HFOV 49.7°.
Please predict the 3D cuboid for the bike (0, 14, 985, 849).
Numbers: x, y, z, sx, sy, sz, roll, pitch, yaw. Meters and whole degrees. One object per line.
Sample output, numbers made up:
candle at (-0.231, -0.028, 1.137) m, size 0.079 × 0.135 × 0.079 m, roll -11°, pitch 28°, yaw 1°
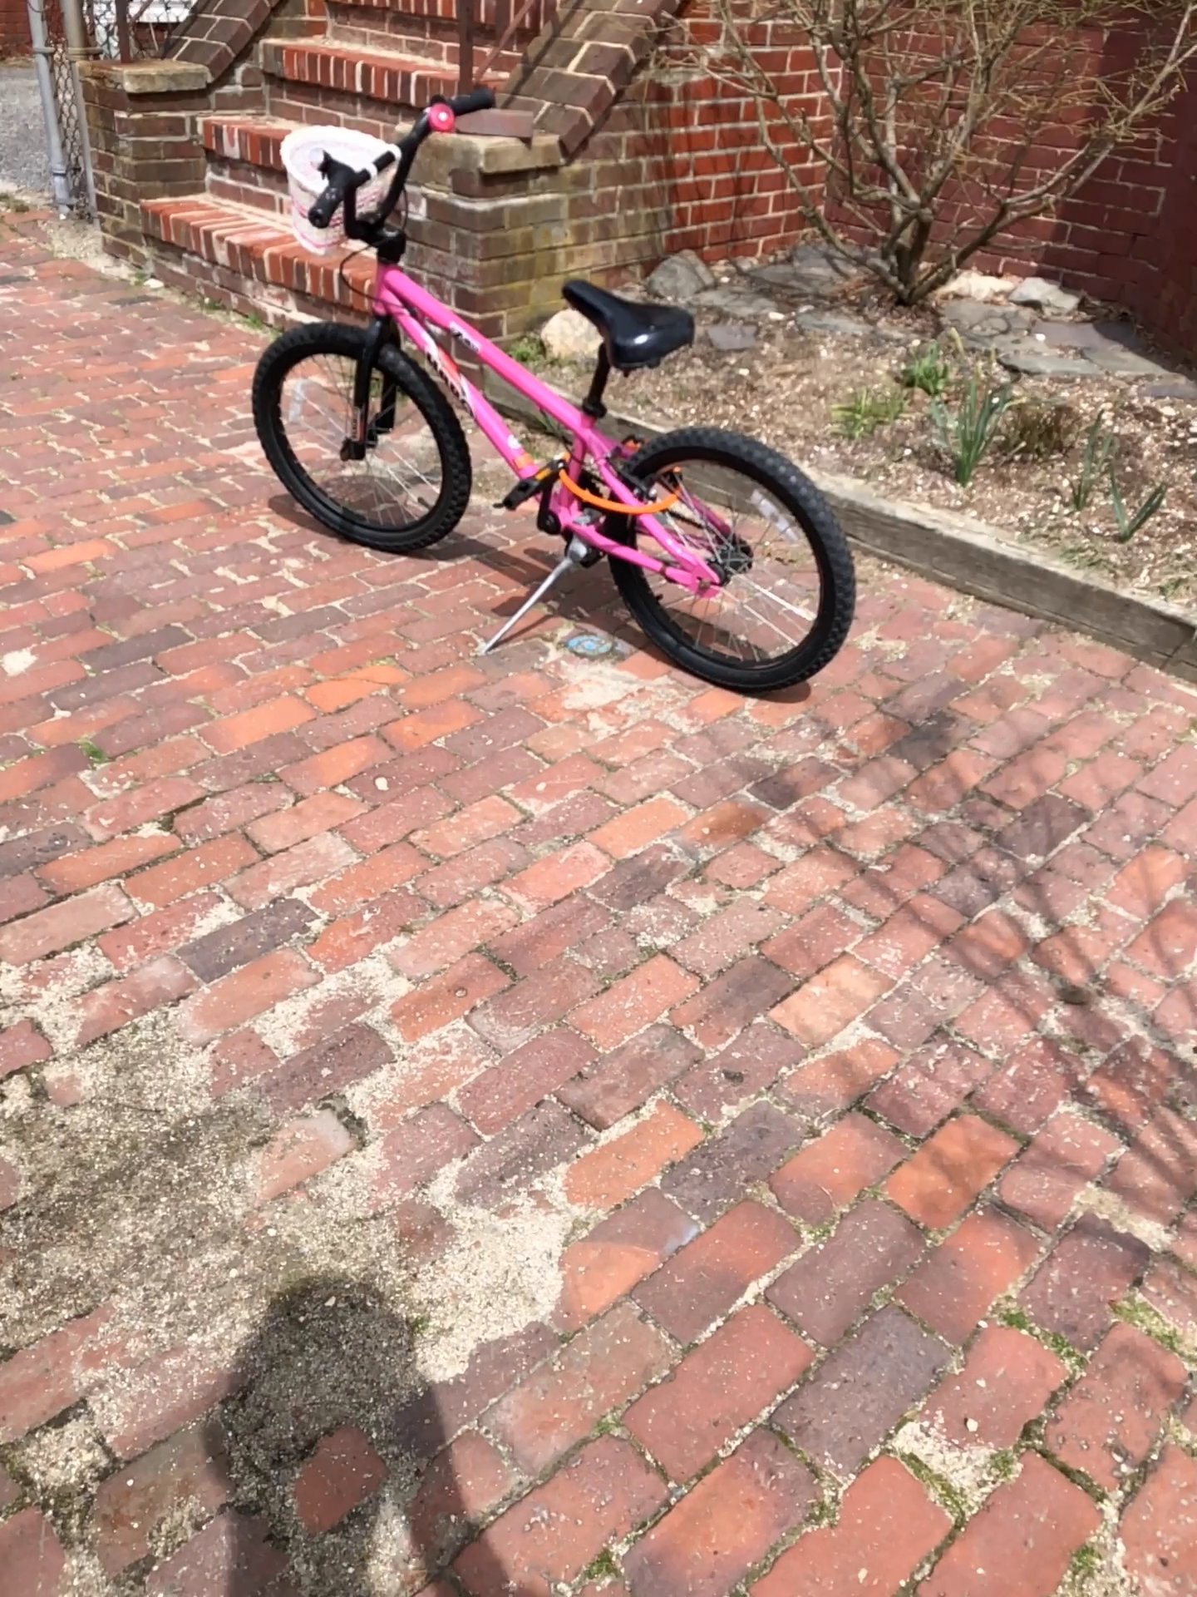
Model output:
bike at (-0.195, -0.719, 2.261) m, size 1.339 × 0.906 × 0.714 m, roll 25°, pitch 39°, yaw 23°
